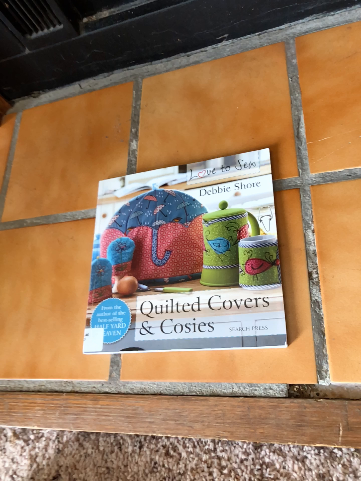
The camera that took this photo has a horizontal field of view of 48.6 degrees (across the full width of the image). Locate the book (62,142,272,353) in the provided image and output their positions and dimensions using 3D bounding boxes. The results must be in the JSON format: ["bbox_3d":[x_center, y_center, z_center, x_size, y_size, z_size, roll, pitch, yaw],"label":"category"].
[{"bbox_3d":[-0.021,0.009,0.449,0.225,0.015,0.219,-8,67,19],"label":"book"}]
